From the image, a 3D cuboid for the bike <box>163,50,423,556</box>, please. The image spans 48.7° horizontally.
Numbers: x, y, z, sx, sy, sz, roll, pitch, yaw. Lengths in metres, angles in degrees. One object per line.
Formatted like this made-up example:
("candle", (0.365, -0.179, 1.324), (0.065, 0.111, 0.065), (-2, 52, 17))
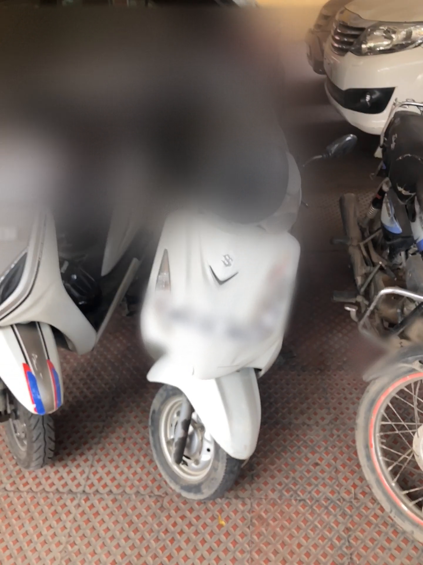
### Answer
("bike", (0.341, -0.037, 1.833), (0.832, 0.940, 1.516), (-4, 44, 4))
